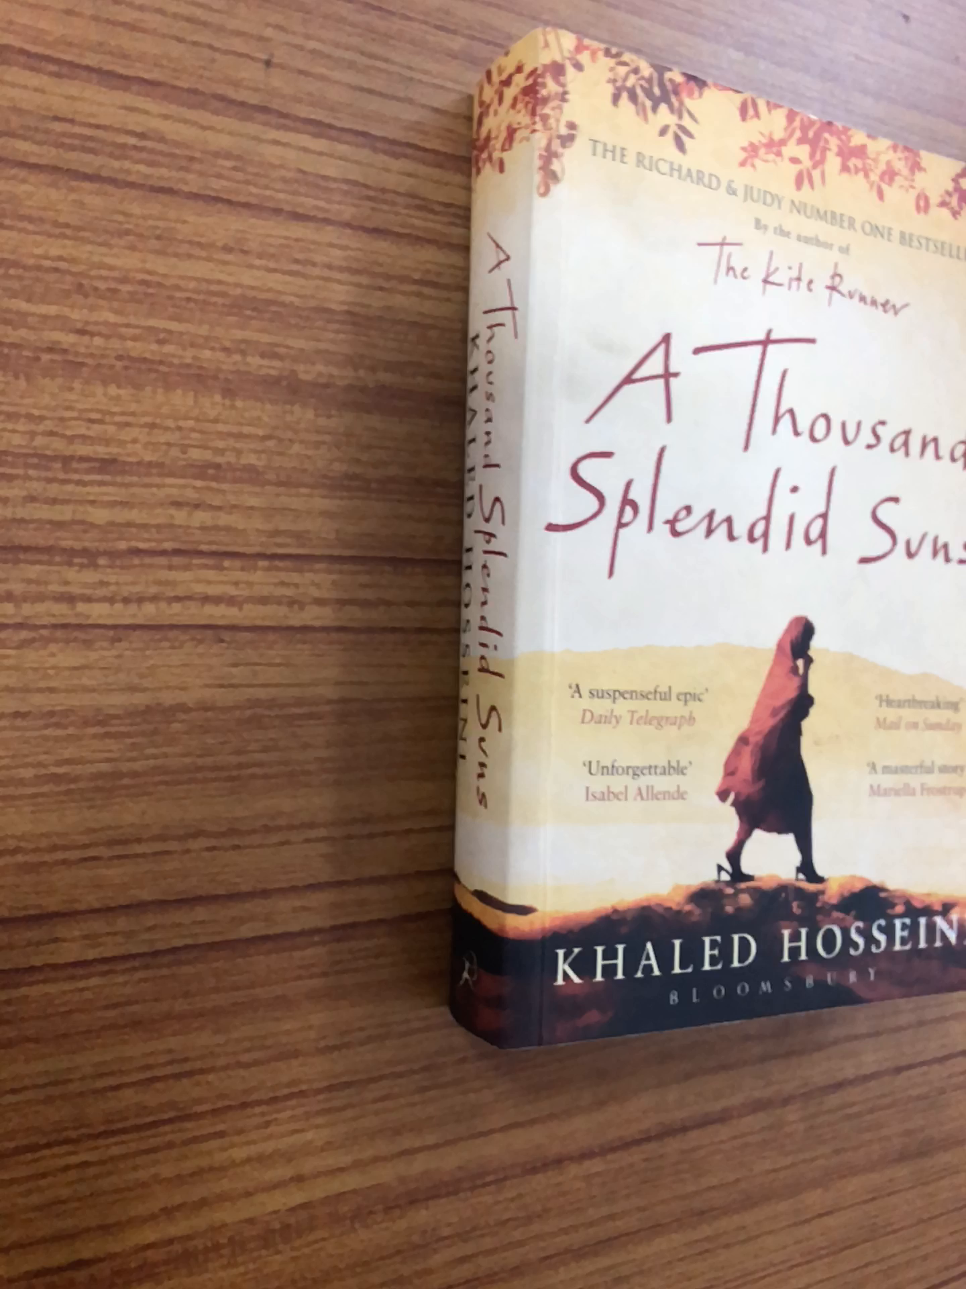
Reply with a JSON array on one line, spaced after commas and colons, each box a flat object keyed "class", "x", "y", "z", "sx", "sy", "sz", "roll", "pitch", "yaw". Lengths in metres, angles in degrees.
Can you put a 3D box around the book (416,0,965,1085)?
[{"class": "book", "x": 0.060, "y": -0.016, "z": 0.234, "sx": 0.141, "sy": 0.030, "sz": 0.190, "roll": 3, "pitch": 89, "yaw": -27}]
